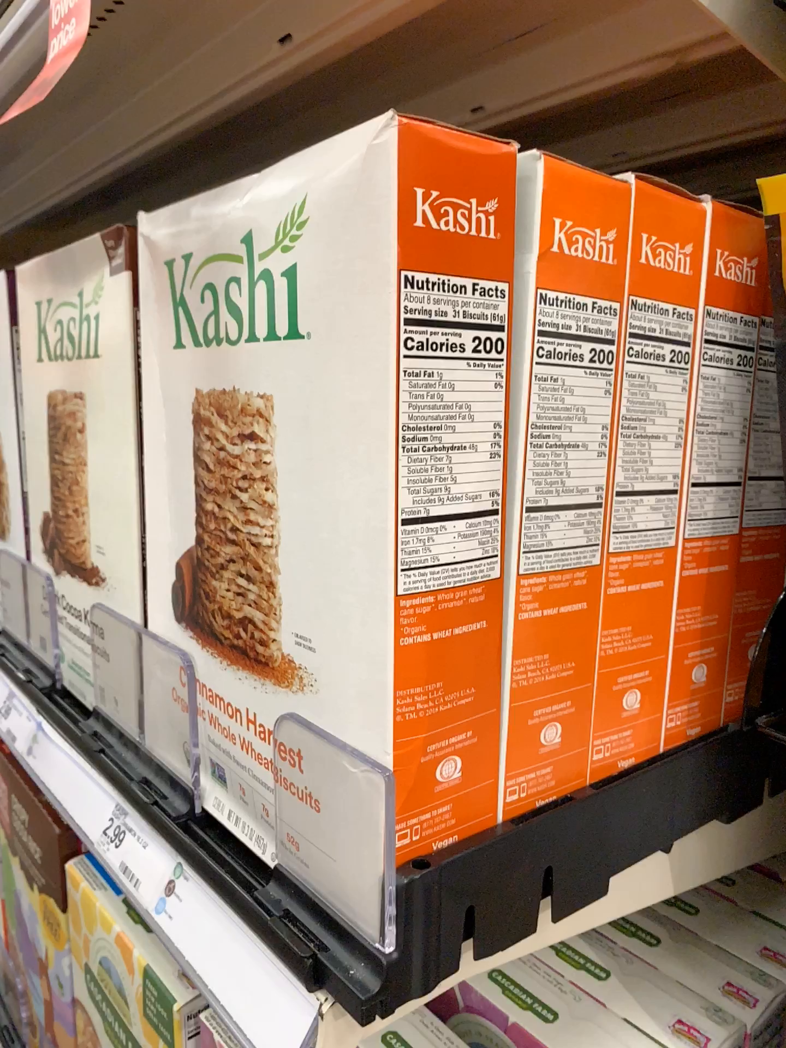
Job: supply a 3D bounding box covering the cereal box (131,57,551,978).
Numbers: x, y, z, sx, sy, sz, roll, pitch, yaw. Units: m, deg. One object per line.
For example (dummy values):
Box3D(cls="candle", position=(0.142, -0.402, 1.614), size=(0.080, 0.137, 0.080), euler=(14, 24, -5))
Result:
Box3D(cls="cereal box", position=(-0.037, -0.006, 0.341), size=(0.070, 0.279, 0.190), euler=(-5, 10, -38))
